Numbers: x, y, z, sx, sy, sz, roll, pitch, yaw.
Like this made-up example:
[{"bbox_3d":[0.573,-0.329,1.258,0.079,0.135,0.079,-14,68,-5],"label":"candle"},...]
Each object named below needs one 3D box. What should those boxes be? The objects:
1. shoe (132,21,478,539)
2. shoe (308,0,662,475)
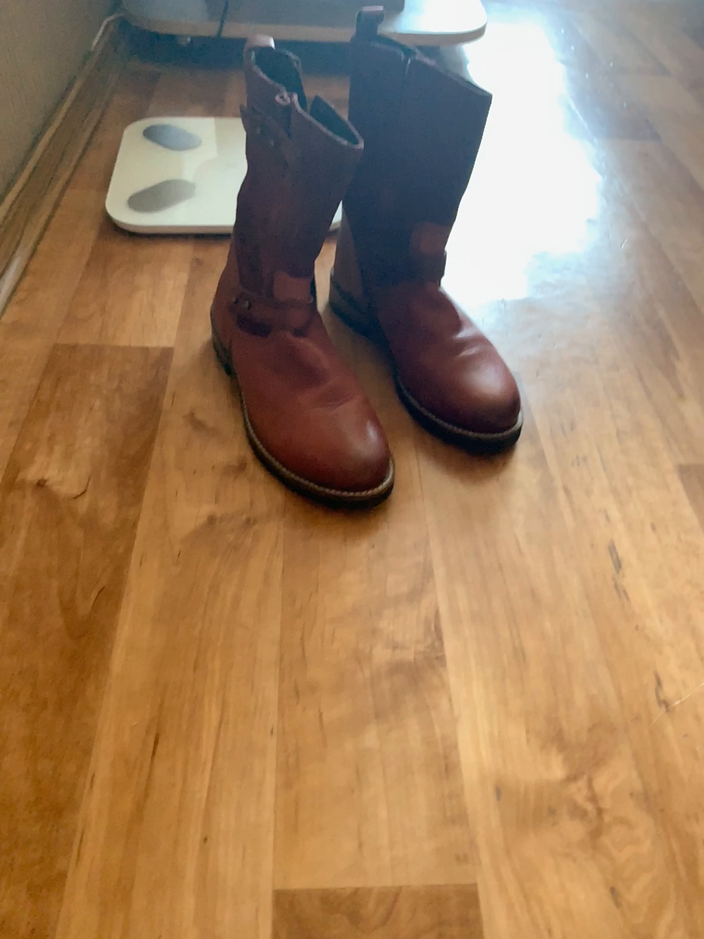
[{"bbox_3d":[-0.046,-0.135,0.512,0.100,0.249,0.251,-20,51,-21],"label":"shoe"},{"bbox_3d":[0.064,-0.174,0.540,0.090,0.239,0.251,-20,51,-21],"label":"shoe"}]
